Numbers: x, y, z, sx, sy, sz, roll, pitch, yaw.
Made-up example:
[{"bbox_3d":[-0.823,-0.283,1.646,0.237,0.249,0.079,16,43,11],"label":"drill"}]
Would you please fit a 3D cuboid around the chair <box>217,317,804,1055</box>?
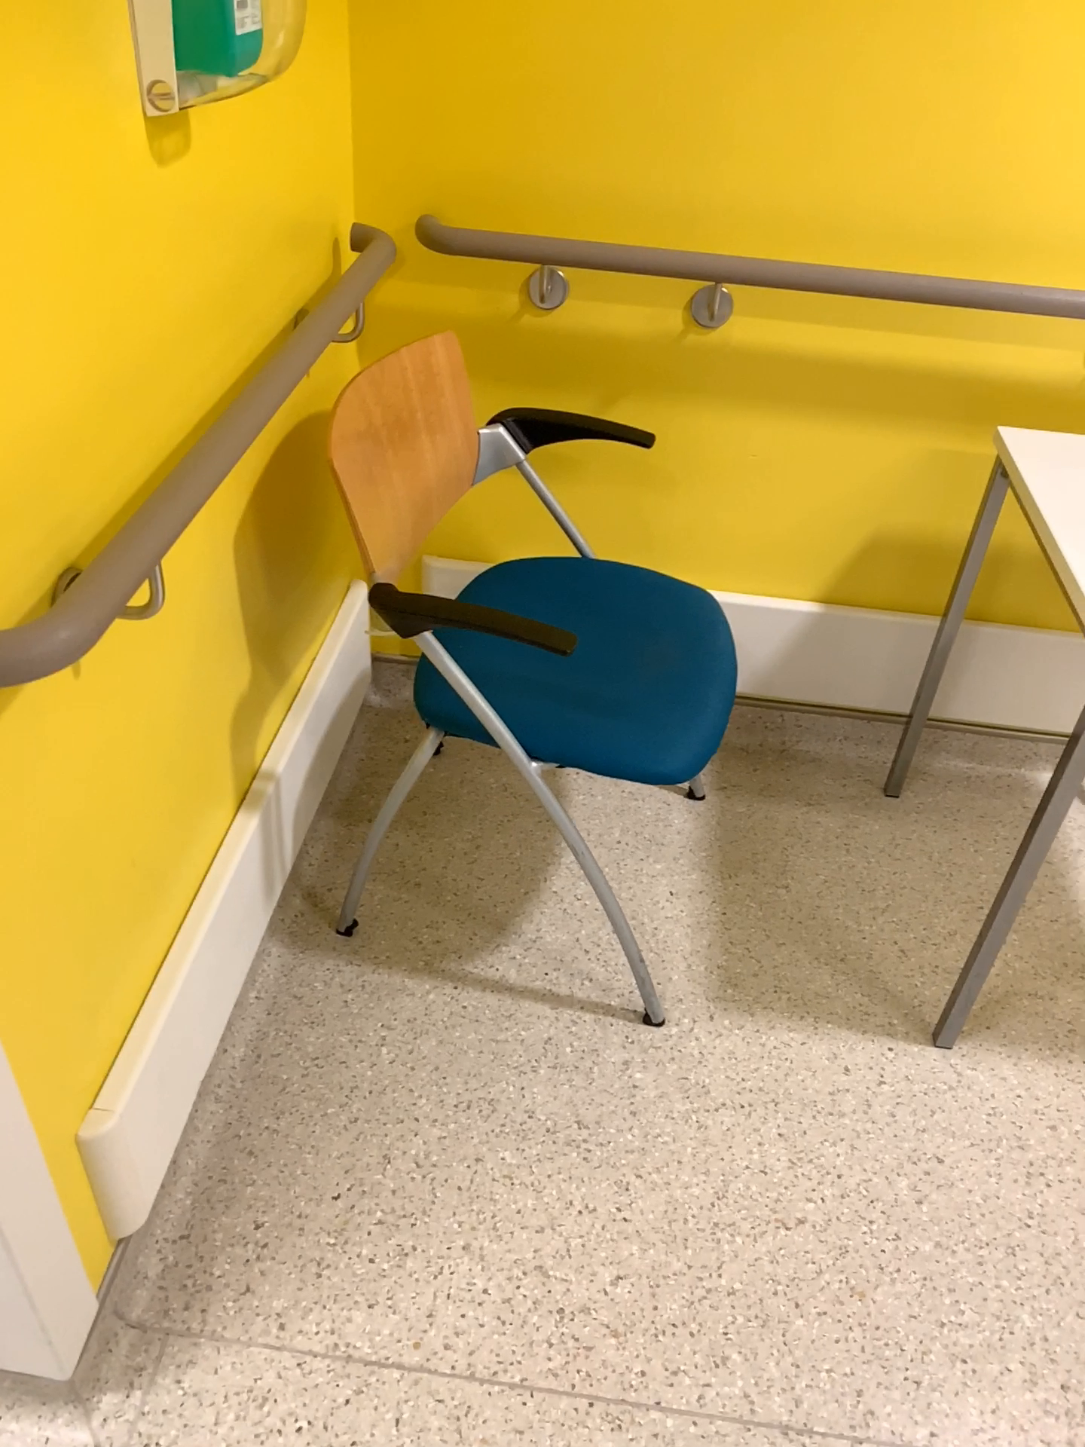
[{"bbox_3d":[-0.014,-0.067,1.591,0.589,0.779,0.576,11,38,10],"label":"chair"}]
